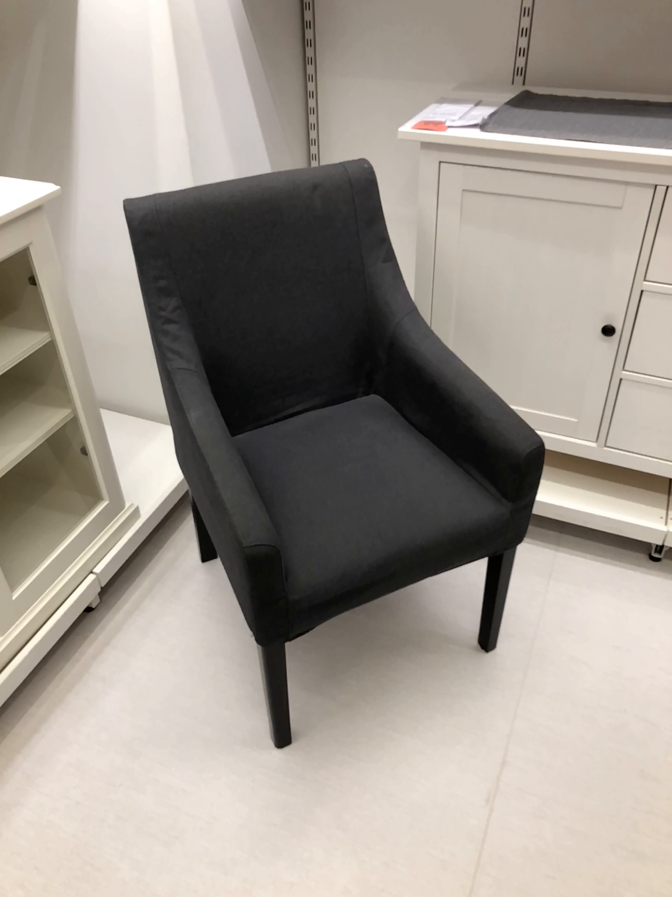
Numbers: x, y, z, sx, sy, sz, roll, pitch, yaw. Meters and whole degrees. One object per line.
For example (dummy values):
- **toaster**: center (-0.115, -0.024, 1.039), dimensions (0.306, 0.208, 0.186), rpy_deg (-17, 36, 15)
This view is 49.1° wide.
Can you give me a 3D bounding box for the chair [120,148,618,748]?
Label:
- **chair**: center (0.022, -0.025, 1.489), dimensions (0.611, 0.884, 0.623), rpy_deg (-17, 40, -19)
